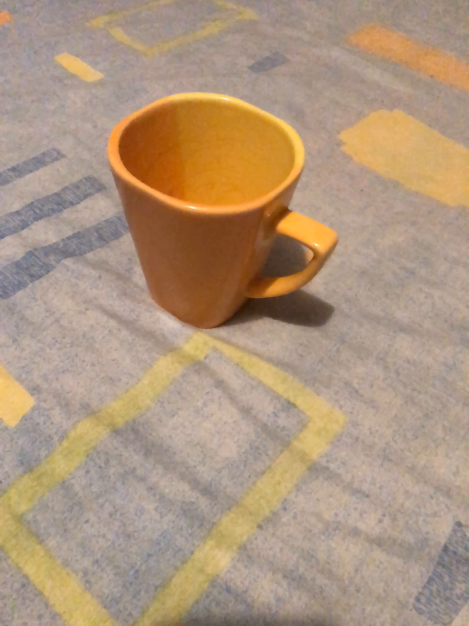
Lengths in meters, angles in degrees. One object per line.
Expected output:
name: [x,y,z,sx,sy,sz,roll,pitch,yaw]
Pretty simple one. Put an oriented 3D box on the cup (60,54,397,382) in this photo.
cup: [-0.004,-0.048,0.248,0.111,0.082,0.084,34,58,20]
